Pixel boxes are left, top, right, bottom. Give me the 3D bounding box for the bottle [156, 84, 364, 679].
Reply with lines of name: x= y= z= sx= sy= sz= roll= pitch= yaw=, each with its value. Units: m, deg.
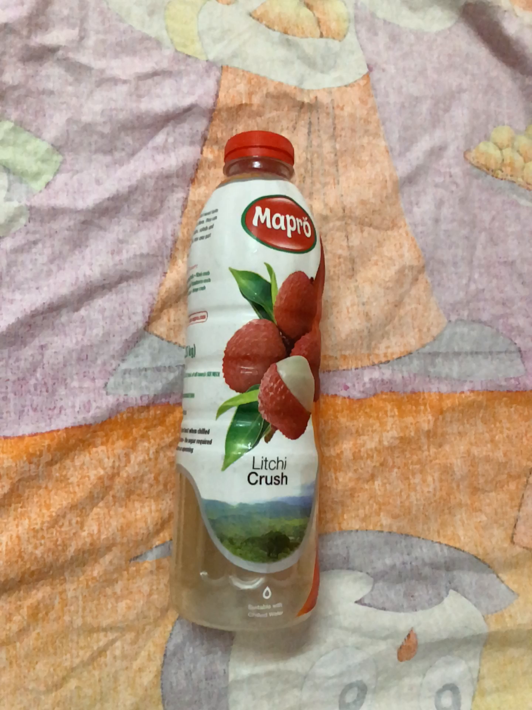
bottle: x=-0.004 y=0.010 z=0.302 sx=0.080 sy=0.070 sz=0.260 roll=4 pitch=83 yaw=-17
